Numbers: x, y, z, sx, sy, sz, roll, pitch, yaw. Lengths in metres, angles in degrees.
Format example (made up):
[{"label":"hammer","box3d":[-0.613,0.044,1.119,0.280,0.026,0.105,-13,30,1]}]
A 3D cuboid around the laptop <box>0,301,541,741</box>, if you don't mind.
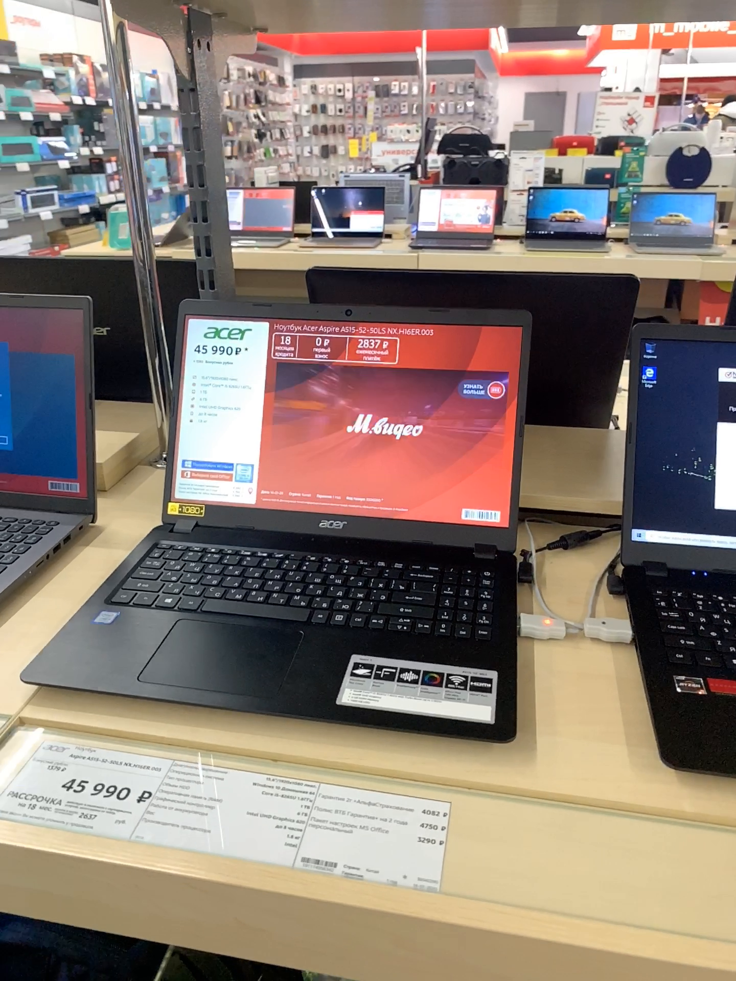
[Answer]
[{"label":"laptop","box3d":[-0.051,-0.018,0.657,0.368,0.208,0.366,4,26,10]}]
